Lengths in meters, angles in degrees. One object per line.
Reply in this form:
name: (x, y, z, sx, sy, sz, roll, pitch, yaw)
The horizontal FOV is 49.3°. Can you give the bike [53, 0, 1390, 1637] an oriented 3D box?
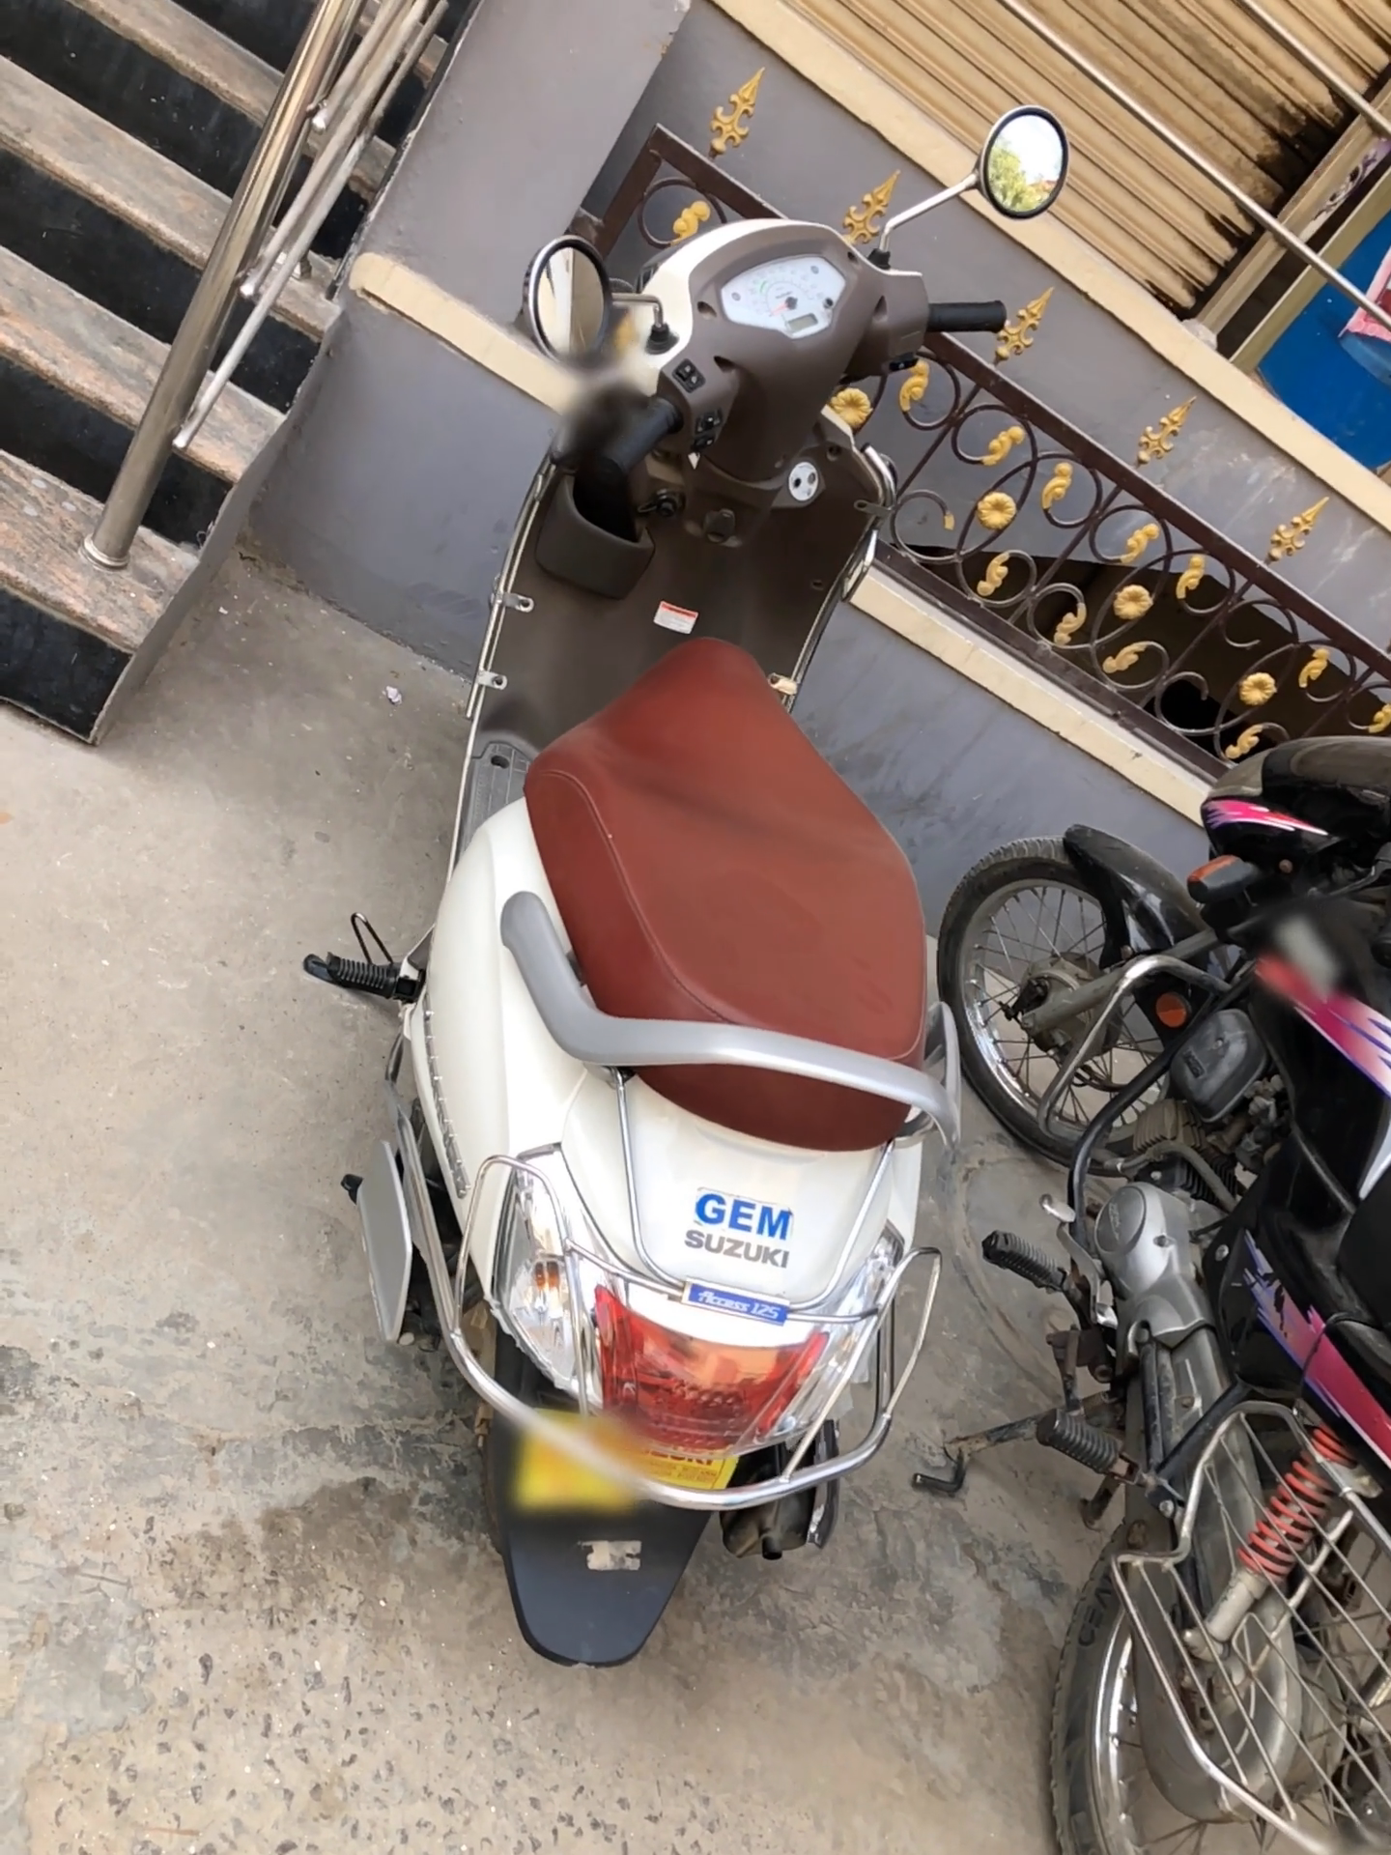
bike: (-0.080, -0.265, 1.783, 0.597, 1.194, 1.492, 23, 34, -25)
